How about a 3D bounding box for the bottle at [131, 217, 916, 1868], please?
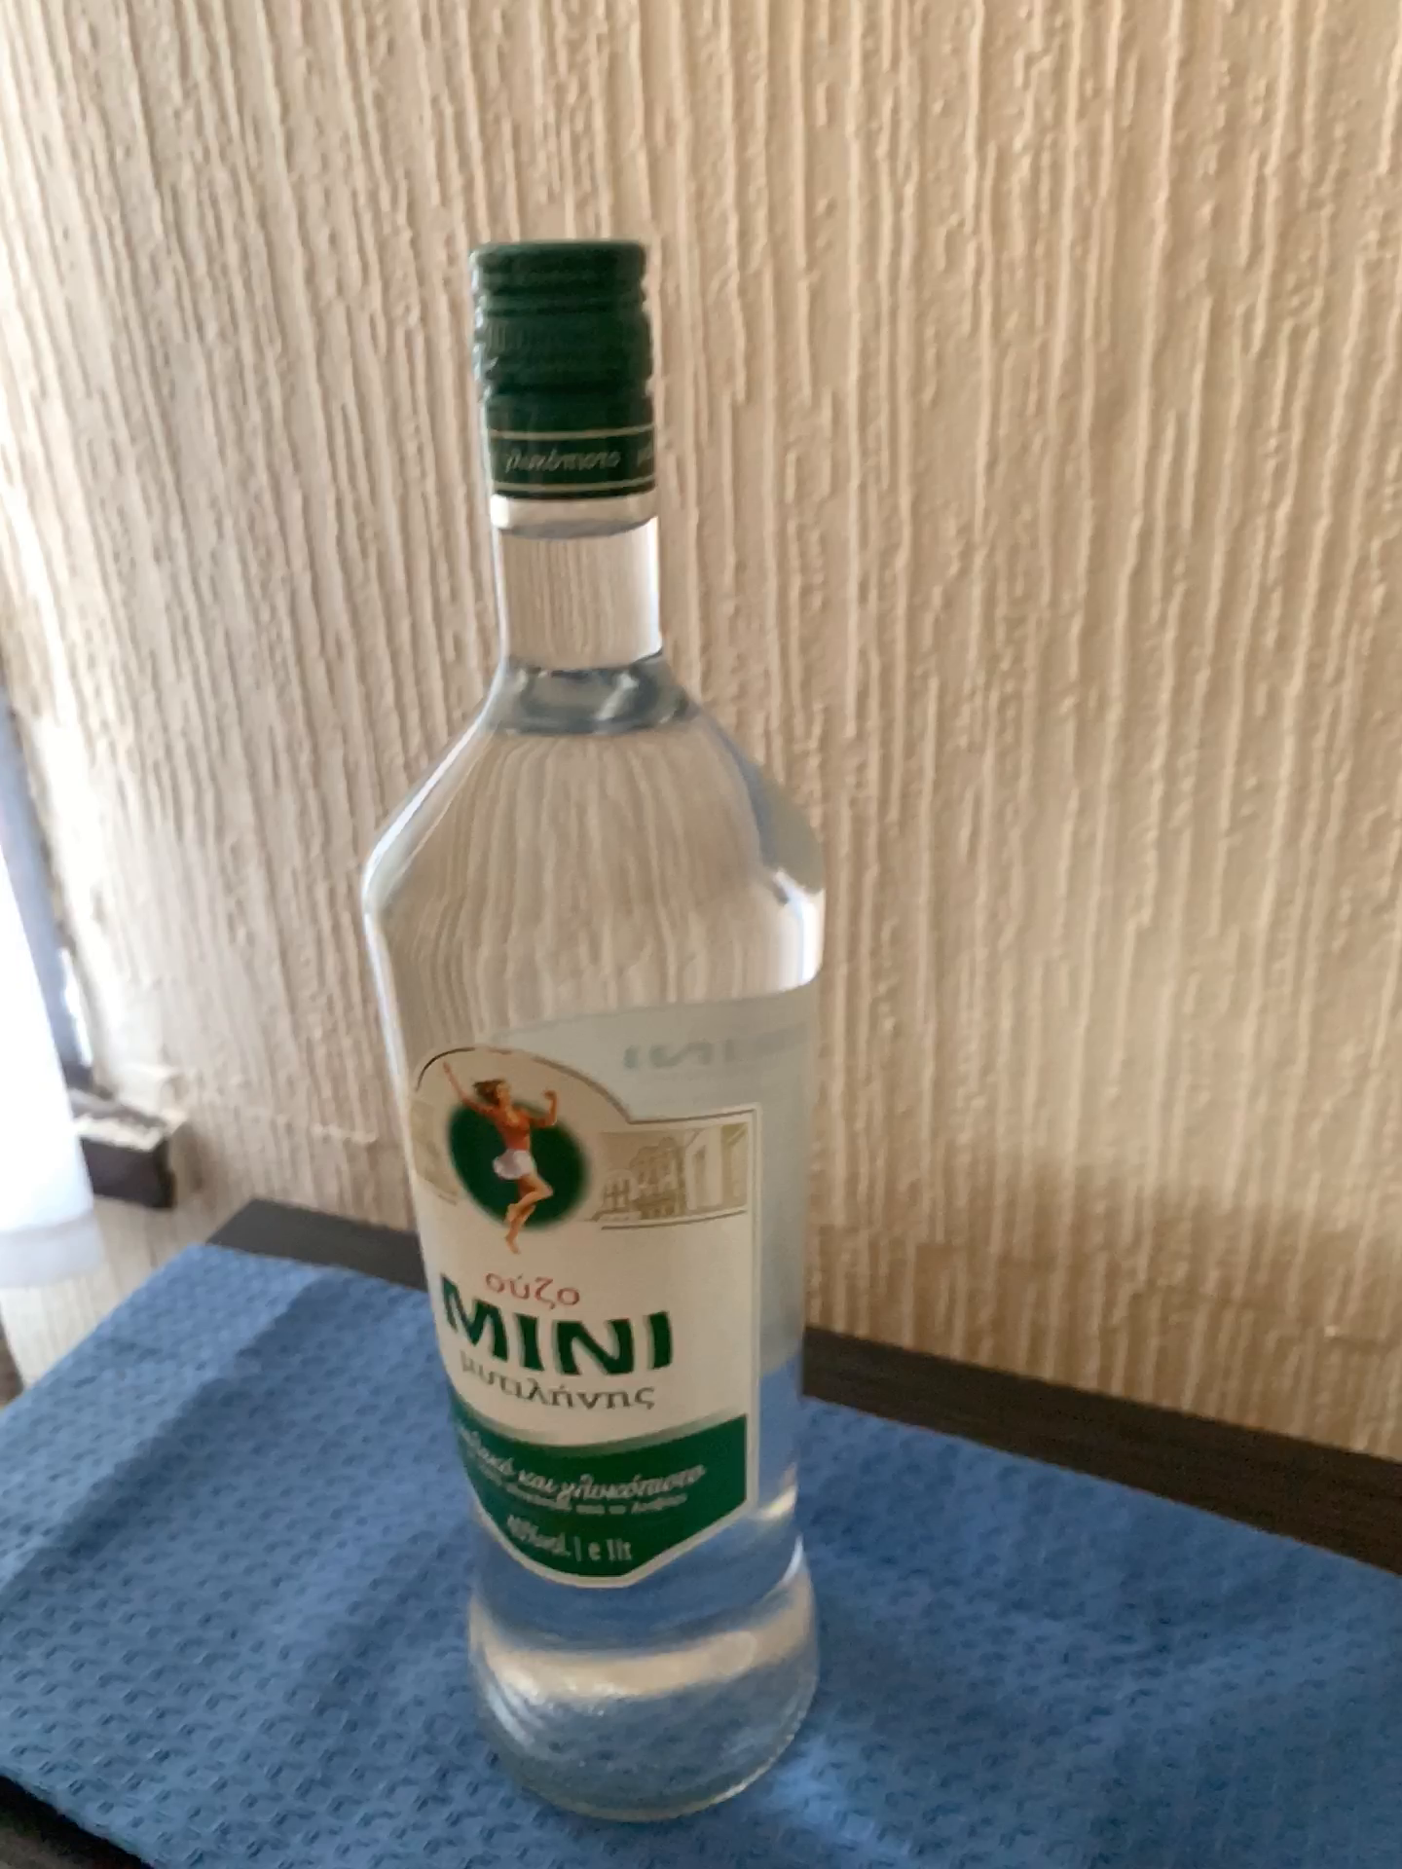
[{"bbox_3d":[-0.017,0.042,0.279,0.090,0.317,0.071,9,28,22],"label":"bottle"}]
